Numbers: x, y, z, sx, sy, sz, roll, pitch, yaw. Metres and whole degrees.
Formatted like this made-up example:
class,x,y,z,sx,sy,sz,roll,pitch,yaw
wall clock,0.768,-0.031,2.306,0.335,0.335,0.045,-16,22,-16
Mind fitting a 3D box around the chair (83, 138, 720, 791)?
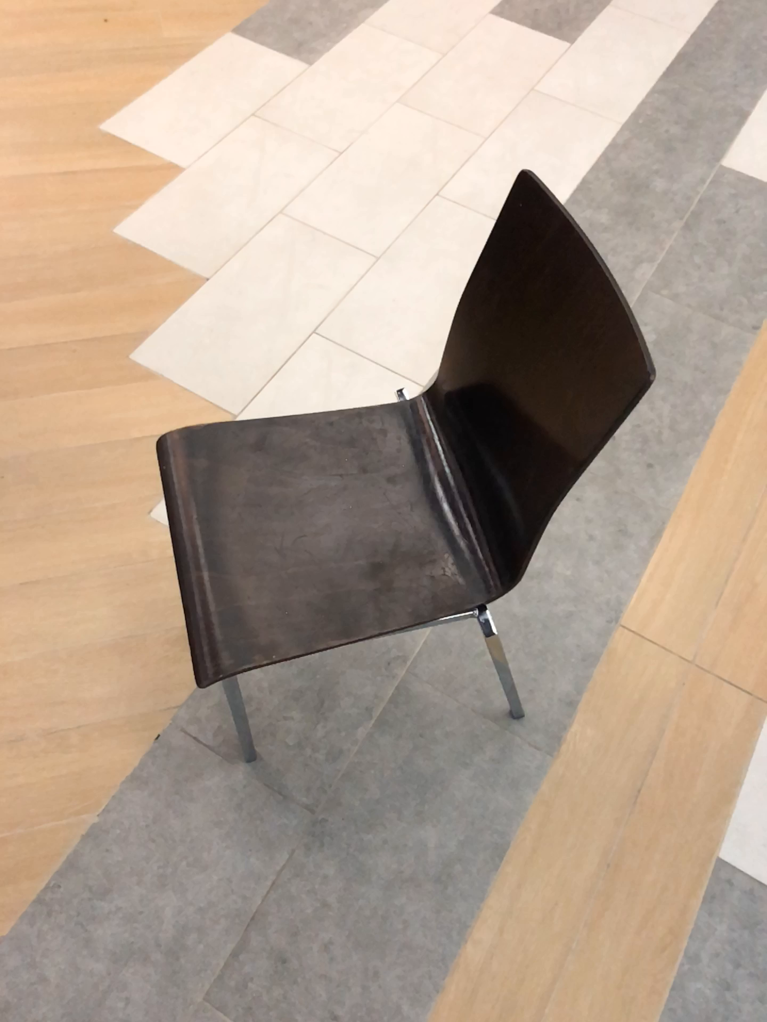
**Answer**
class,x,y,z,sx,sy,sz,roll,pitch,yaw
chair,-0.030,0.010,1.198,0.542,0.848,0.435,-11,59,-11
